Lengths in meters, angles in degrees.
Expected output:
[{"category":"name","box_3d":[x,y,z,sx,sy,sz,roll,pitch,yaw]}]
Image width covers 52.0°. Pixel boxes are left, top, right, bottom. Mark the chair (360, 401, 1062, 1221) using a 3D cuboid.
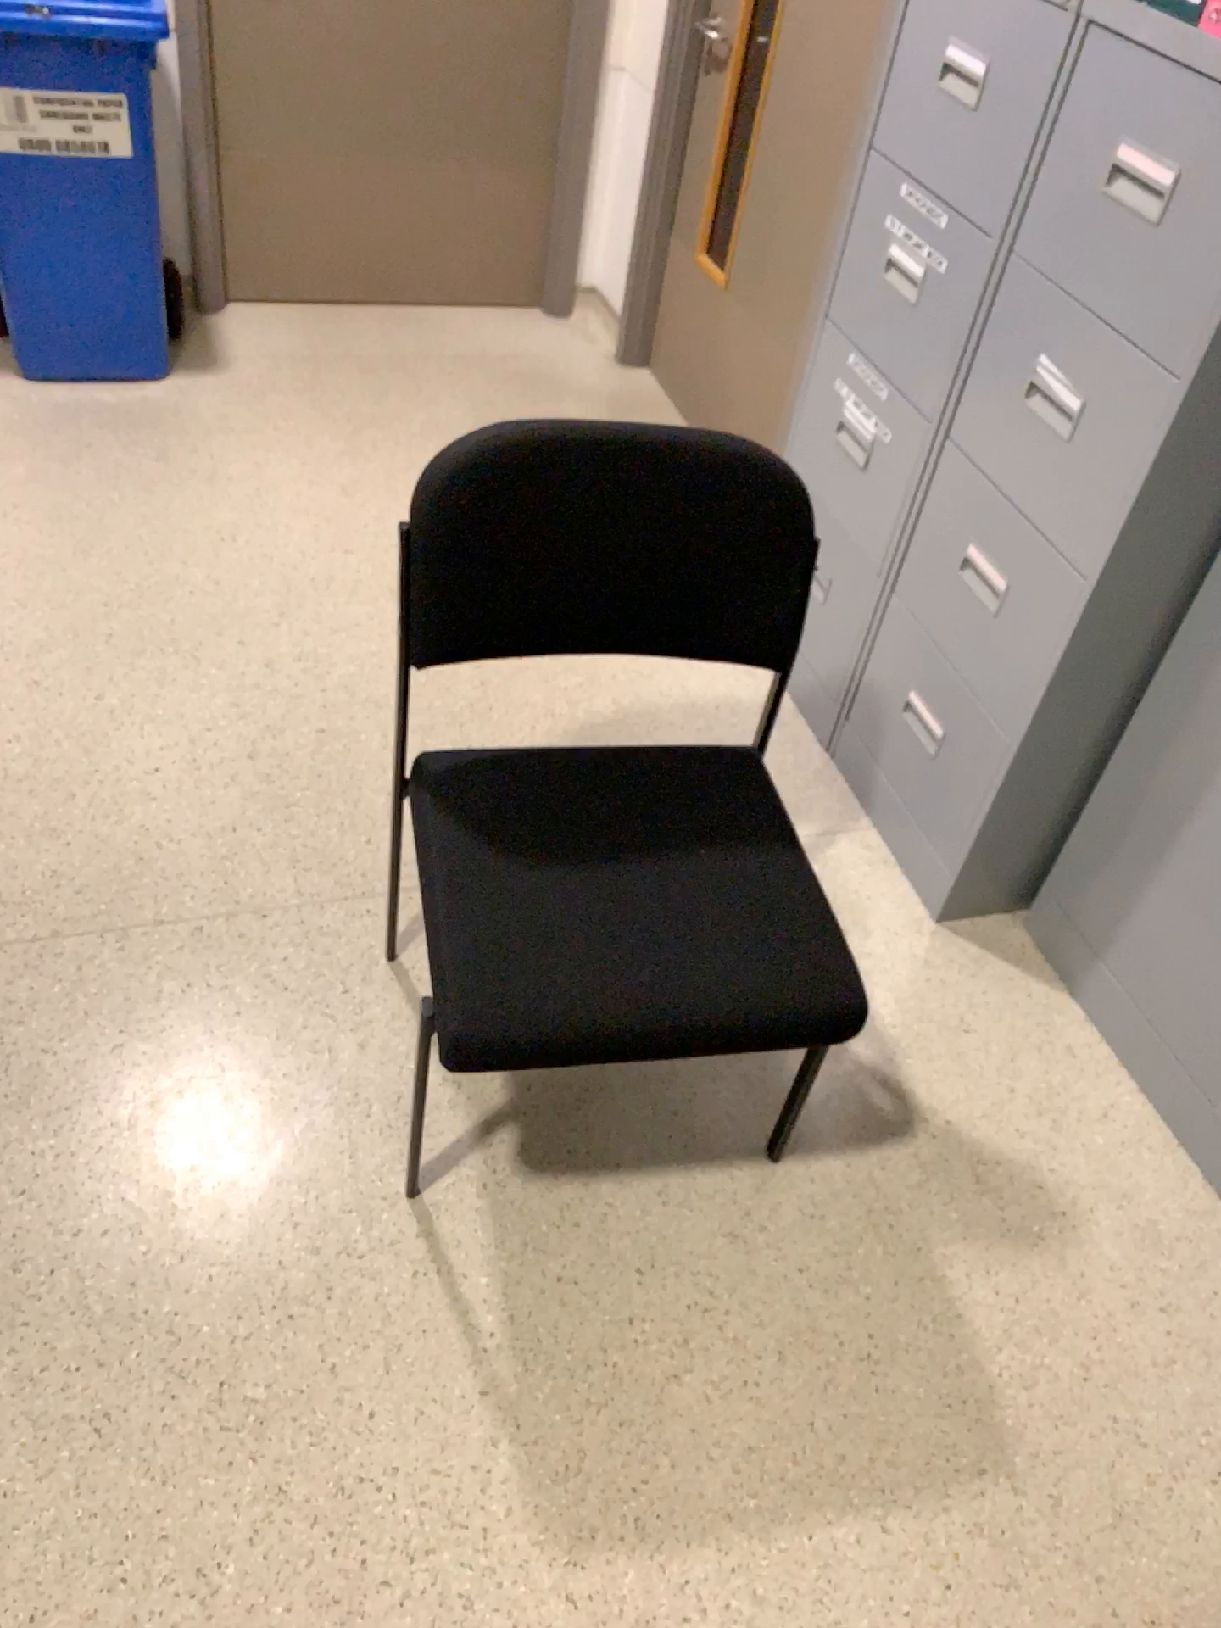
[{"category":"chair","box_3d":[0.014,0.012,1.614,0.630,0.832,0.585,-1,43,-14]}]
